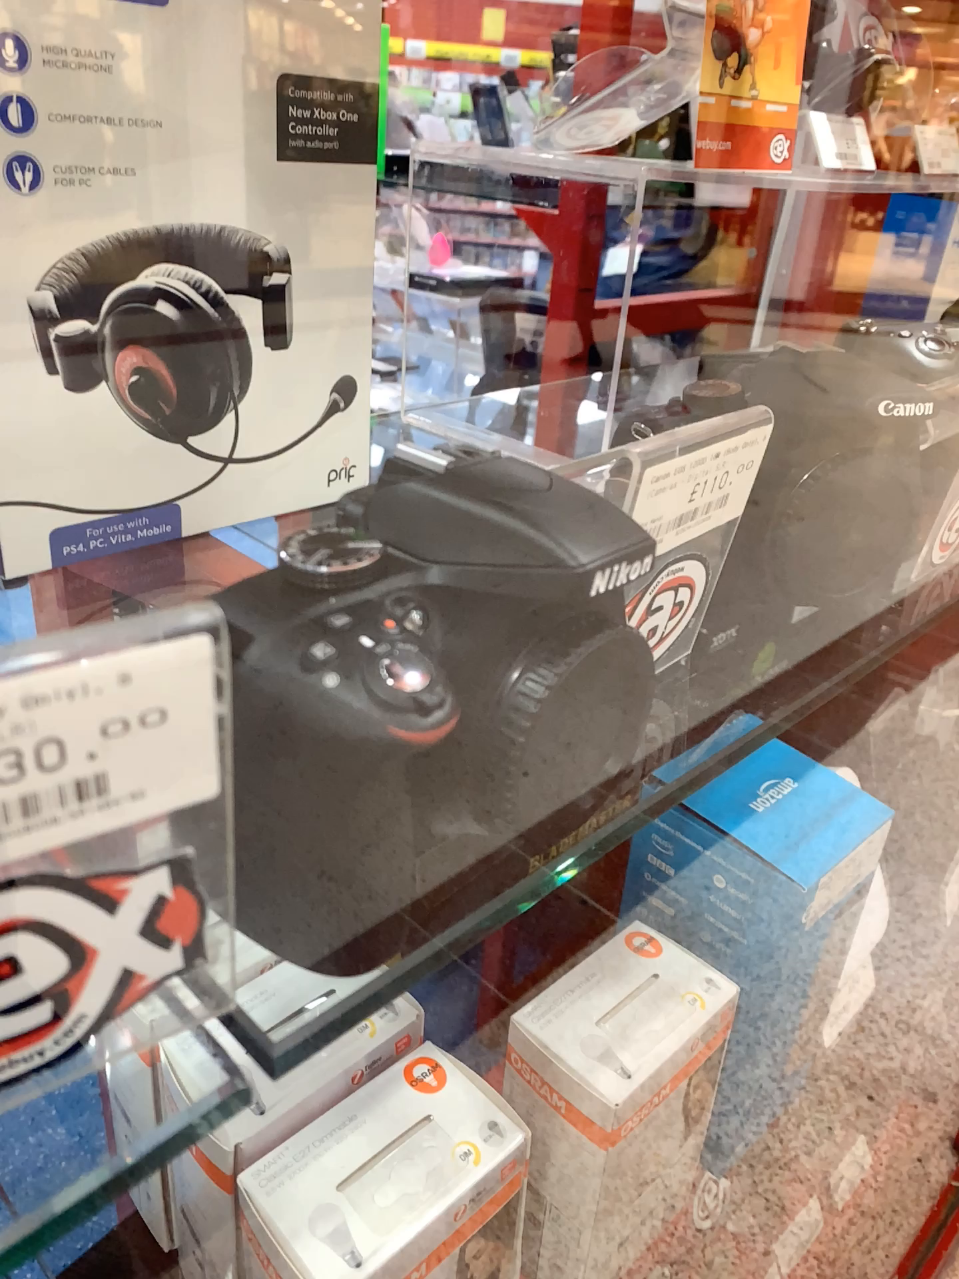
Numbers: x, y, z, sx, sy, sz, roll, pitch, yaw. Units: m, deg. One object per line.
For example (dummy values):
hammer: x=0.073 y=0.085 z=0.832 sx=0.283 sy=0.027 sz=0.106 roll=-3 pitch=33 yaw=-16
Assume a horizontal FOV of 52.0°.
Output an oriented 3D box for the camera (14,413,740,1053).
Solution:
camera: x=-0.021 y=0.005 z=0.249 sx=0.110 sy=0.079 sz=0.131 roll=24 pitch=33 yaw=32
